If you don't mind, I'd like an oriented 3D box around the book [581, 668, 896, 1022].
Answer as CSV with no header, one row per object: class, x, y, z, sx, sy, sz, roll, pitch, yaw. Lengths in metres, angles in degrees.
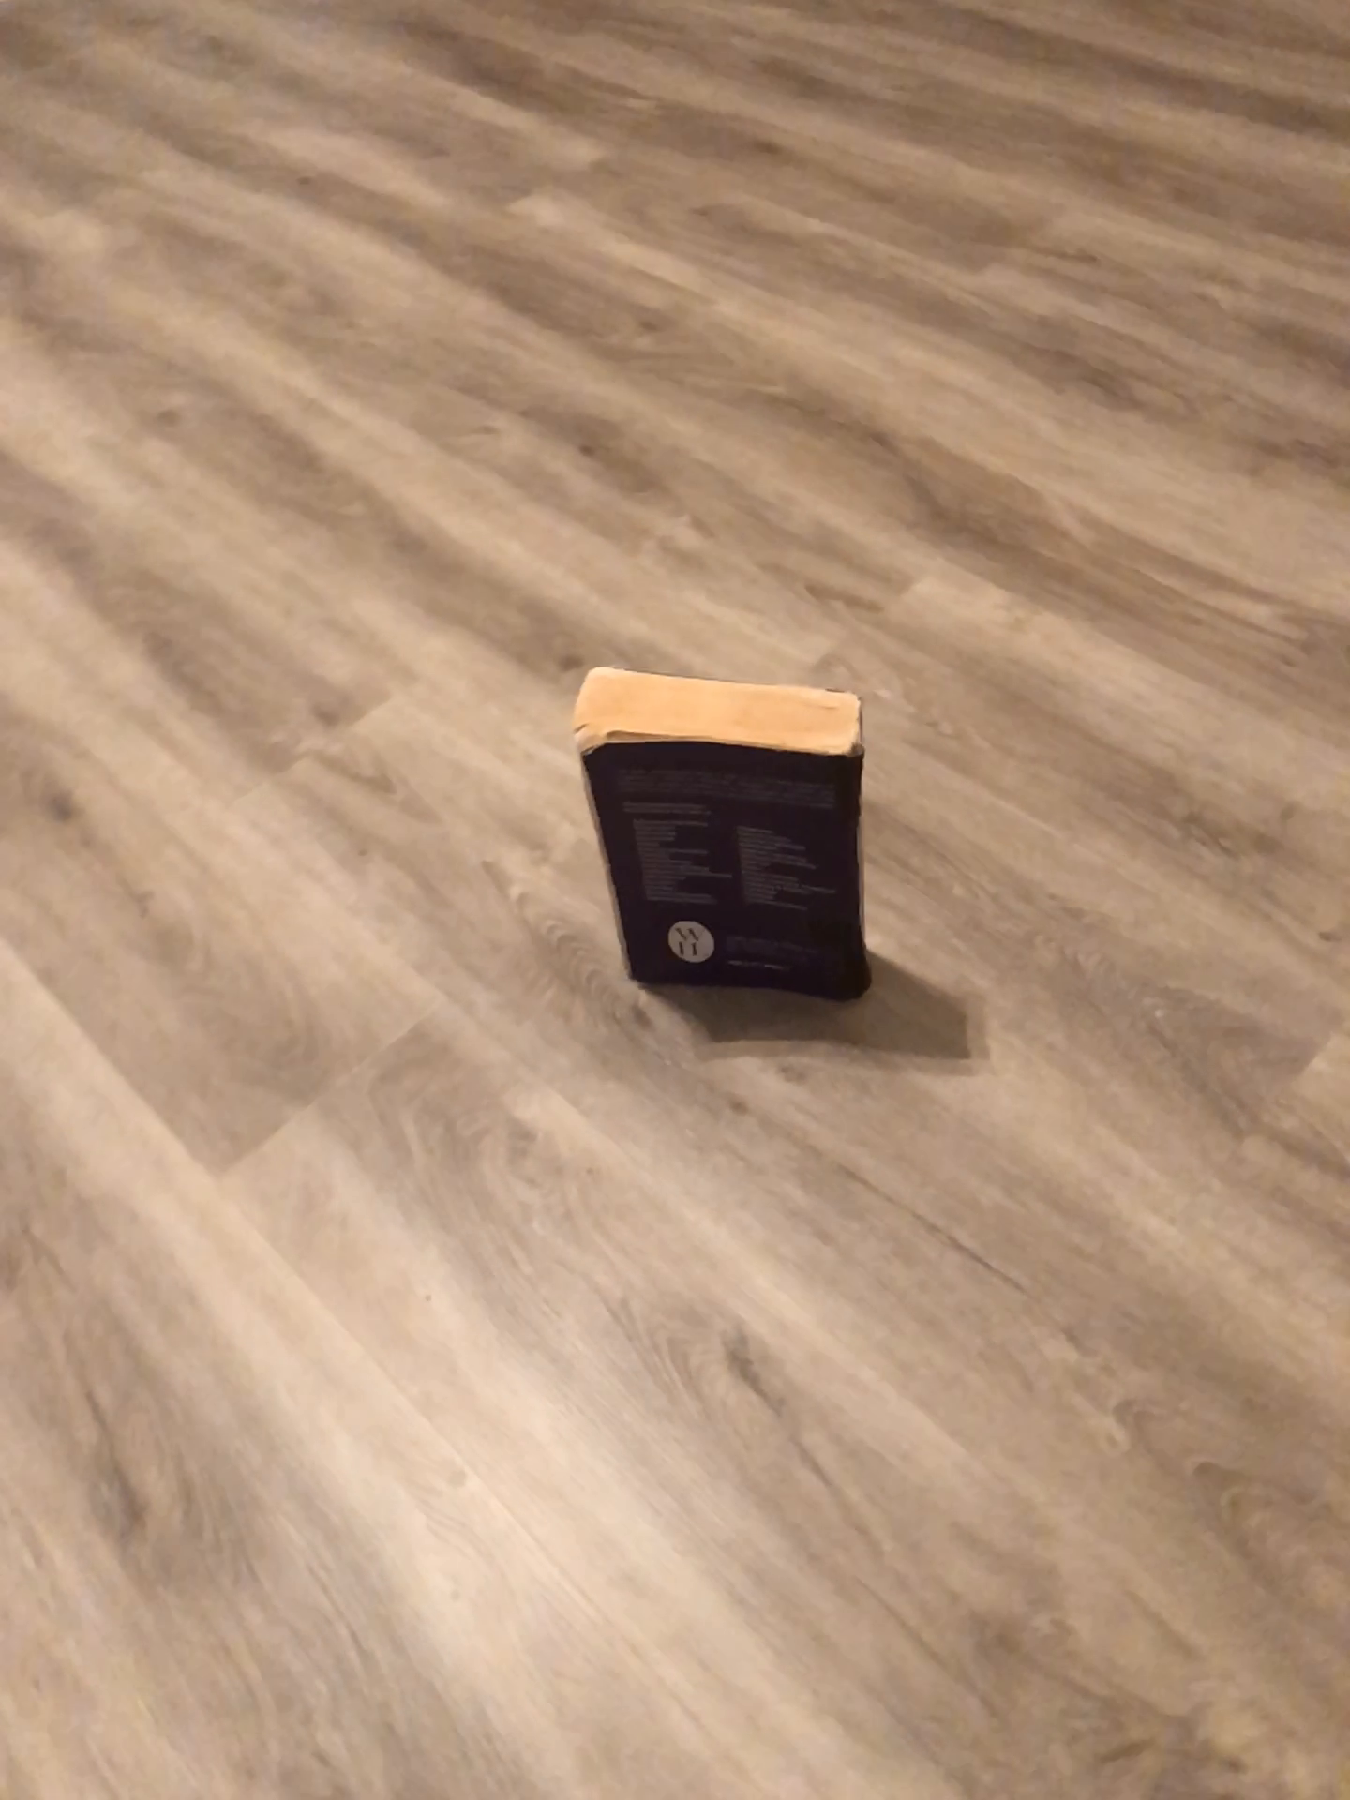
book,0.045,-0.026,0.859,0.155,0.219,0.060,7,54,14
